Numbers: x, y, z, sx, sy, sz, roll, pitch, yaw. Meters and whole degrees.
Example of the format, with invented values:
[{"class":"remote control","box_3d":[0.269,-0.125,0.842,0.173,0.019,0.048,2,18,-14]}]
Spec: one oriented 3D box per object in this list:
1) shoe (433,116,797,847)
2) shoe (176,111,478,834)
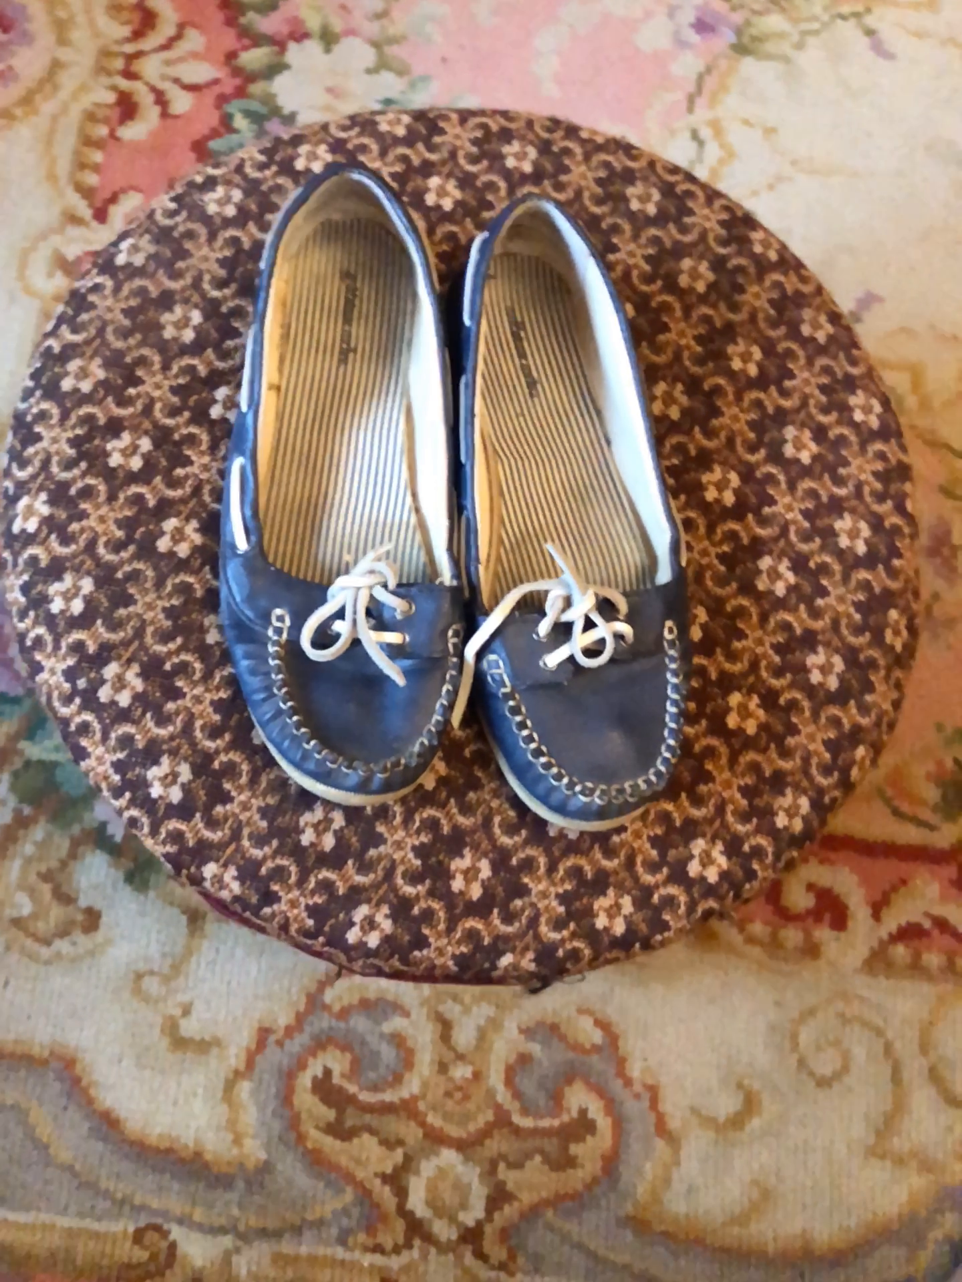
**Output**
[{"class":"shoe","box_3d":[0.040,-0.054,0.396,0.090,0.090,0.250,-3,79,-9]},{"class":"shoe","box_3d":[-0.050,-0.060,0.401,0.090,0.100,0.250,-1,73,-1]}]
